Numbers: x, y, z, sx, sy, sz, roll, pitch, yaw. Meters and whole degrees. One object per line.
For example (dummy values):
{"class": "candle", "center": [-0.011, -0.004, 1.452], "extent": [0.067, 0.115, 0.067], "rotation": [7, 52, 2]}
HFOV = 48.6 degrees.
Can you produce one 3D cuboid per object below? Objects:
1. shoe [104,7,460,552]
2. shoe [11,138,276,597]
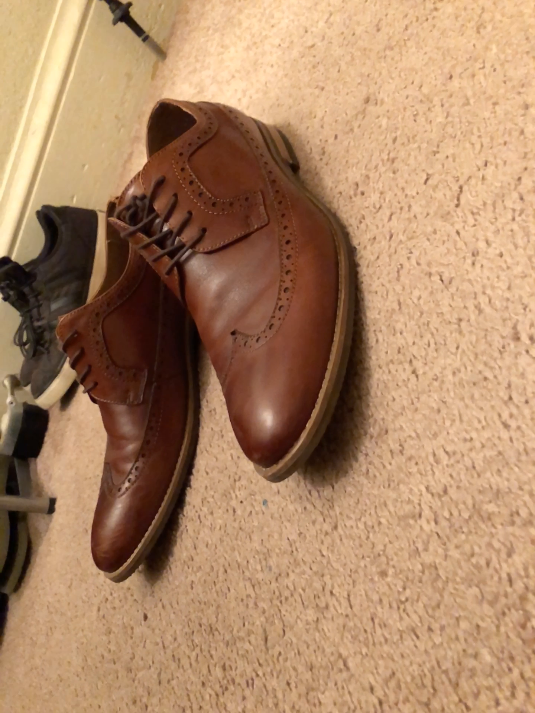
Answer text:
{"class": "shoe", "center": [-0.014, -0.061, 0.358], "extent": [0.115, 0.114, 0.311], "rotation": [-47, 39, 39]}
{"class": "shoe", "center": [-0.095, 0.011, 0.471], "extent": [0.115, 0.114, 0.310], "rotation": [-13, 65, 58]}
